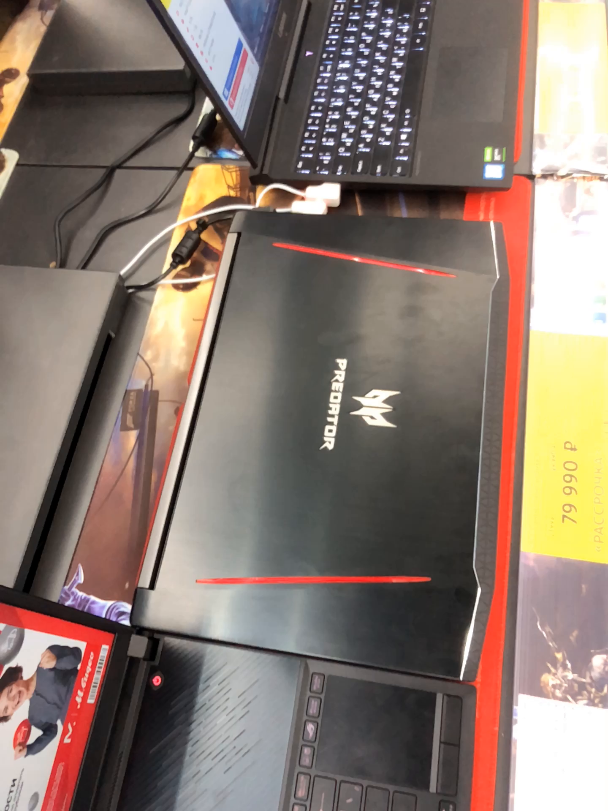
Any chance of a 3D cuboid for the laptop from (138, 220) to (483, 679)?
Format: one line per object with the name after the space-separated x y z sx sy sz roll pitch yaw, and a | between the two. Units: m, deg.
0.020 0.002 0.547 0.228 0.004 0.378 5 65 11 | laptop
